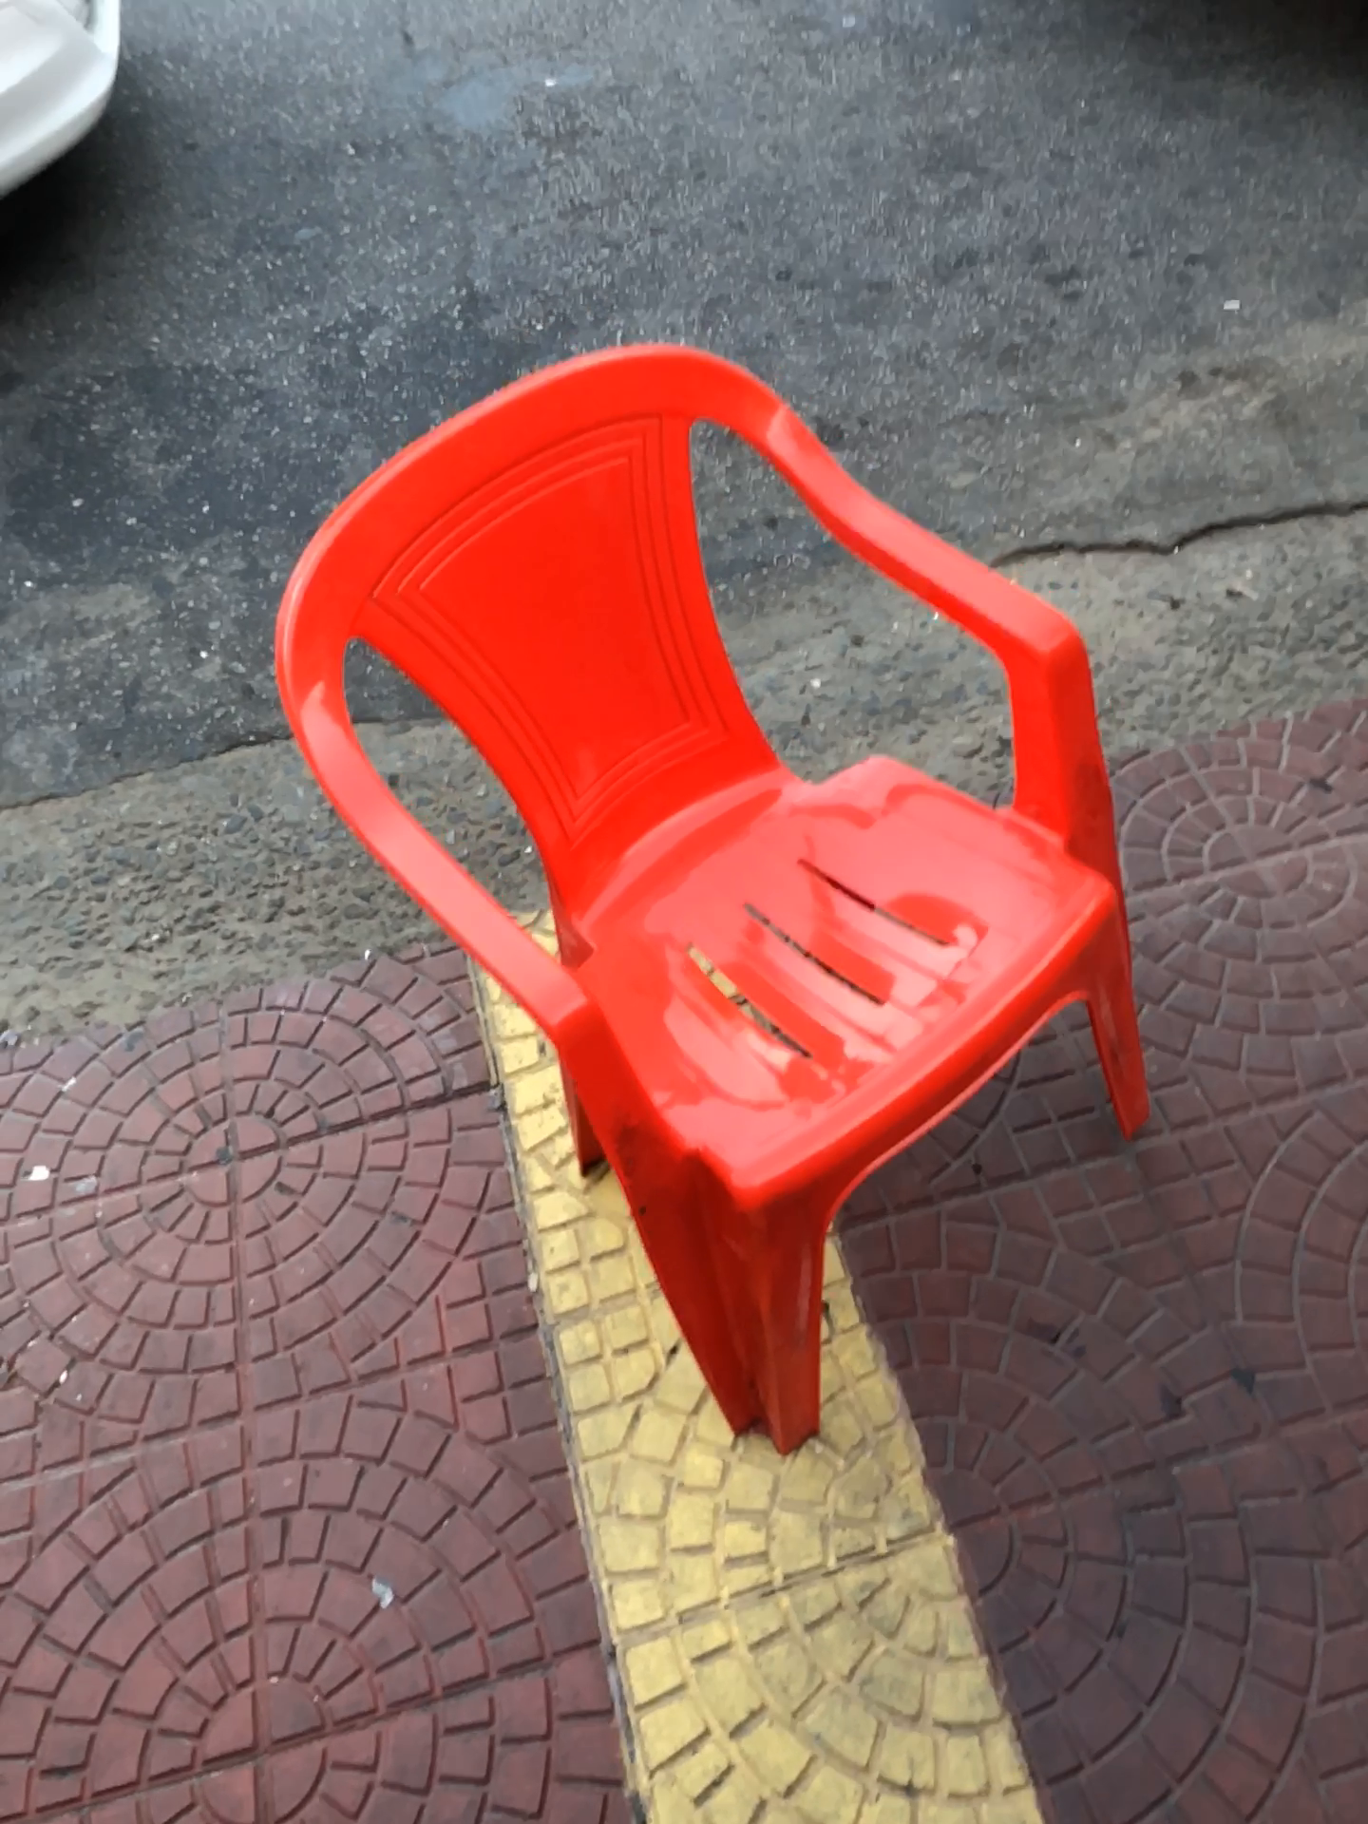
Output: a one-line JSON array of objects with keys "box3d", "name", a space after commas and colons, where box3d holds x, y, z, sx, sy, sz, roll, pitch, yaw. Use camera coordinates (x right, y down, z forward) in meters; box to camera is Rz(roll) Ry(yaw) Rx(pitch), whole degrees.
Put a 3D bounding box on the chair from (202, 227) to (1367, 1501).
[{"box3d": [0.090, -0.018, 1.313, 0.572, 0.795, 0.542, -36, 55, -21], "name": "chair"}]
